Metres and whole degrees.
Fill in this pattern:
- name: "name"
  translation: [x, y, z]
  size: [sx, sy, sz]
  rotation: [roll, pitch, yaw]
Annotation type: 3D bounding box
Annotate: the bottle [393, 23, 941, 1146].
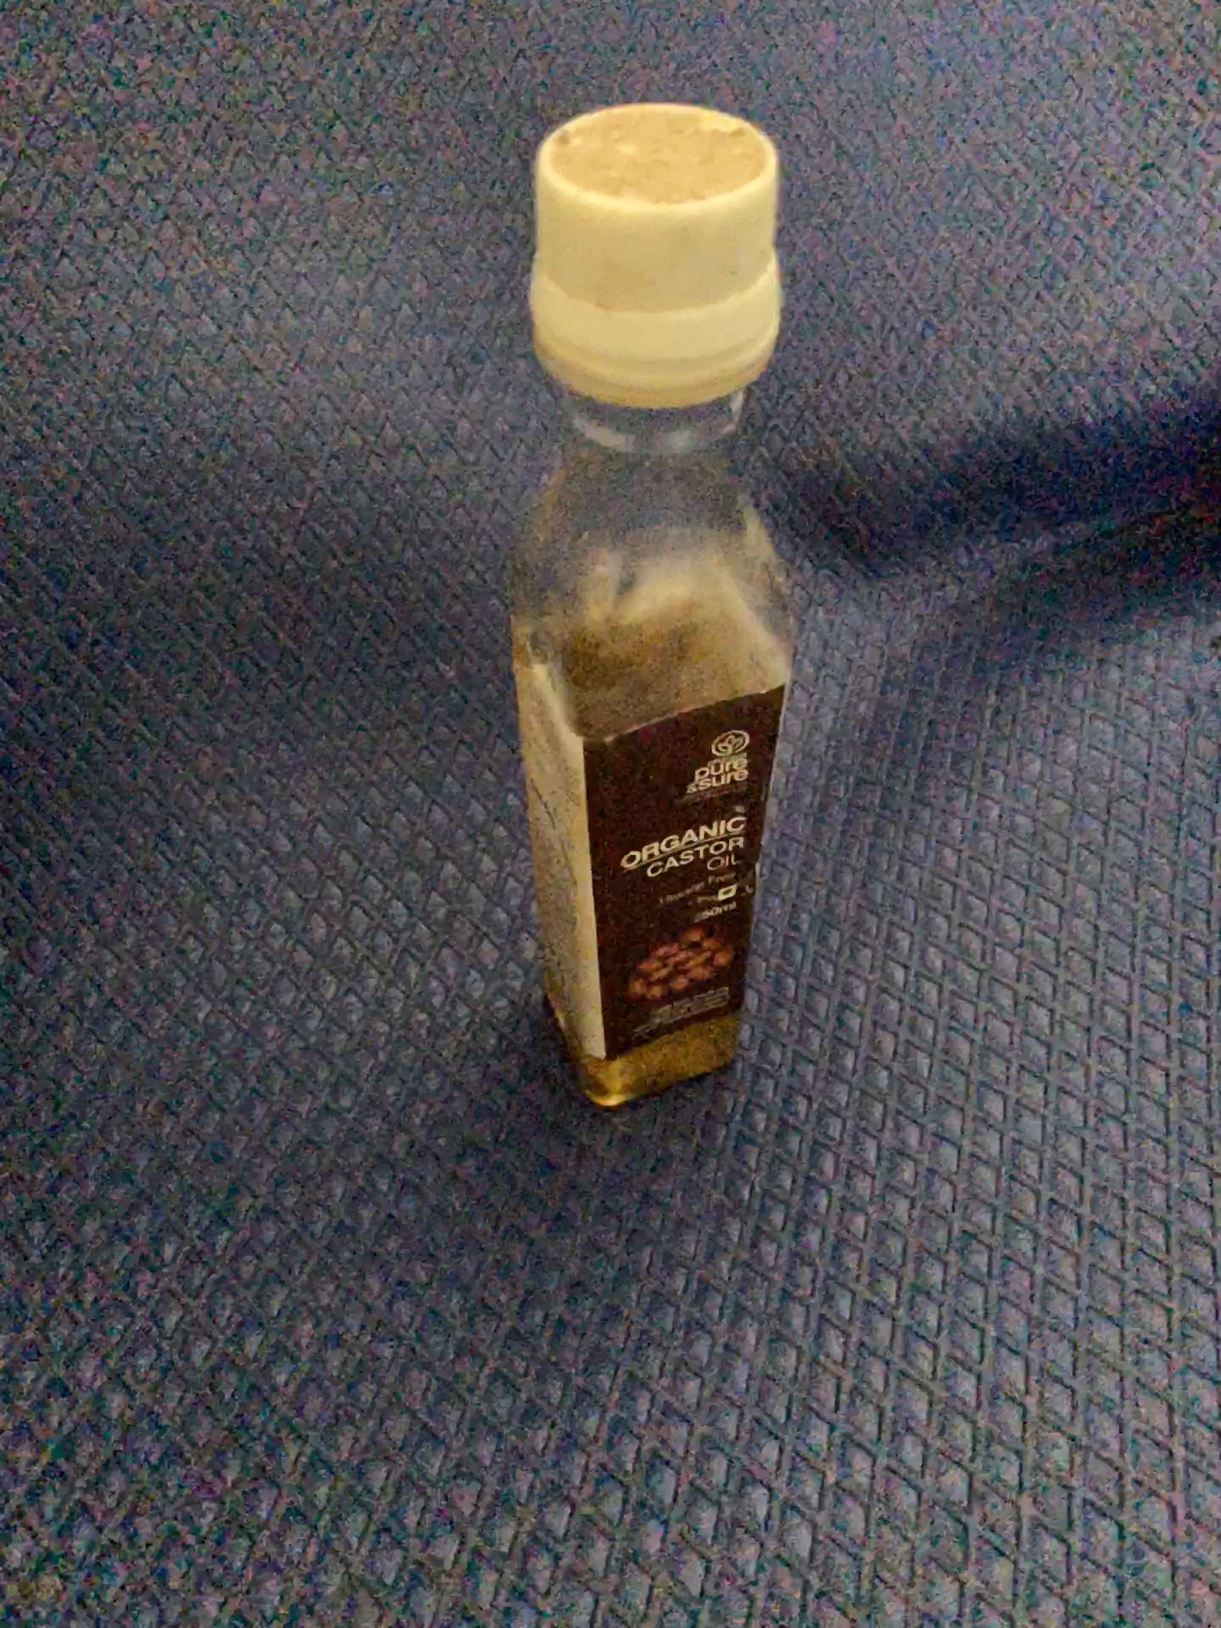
- name: "bottle"
  translation: [0.007, -0.018, 0.227]
  size: [0.050, 0.199, 0.050]
  rotation: [-1, 48, 1]
